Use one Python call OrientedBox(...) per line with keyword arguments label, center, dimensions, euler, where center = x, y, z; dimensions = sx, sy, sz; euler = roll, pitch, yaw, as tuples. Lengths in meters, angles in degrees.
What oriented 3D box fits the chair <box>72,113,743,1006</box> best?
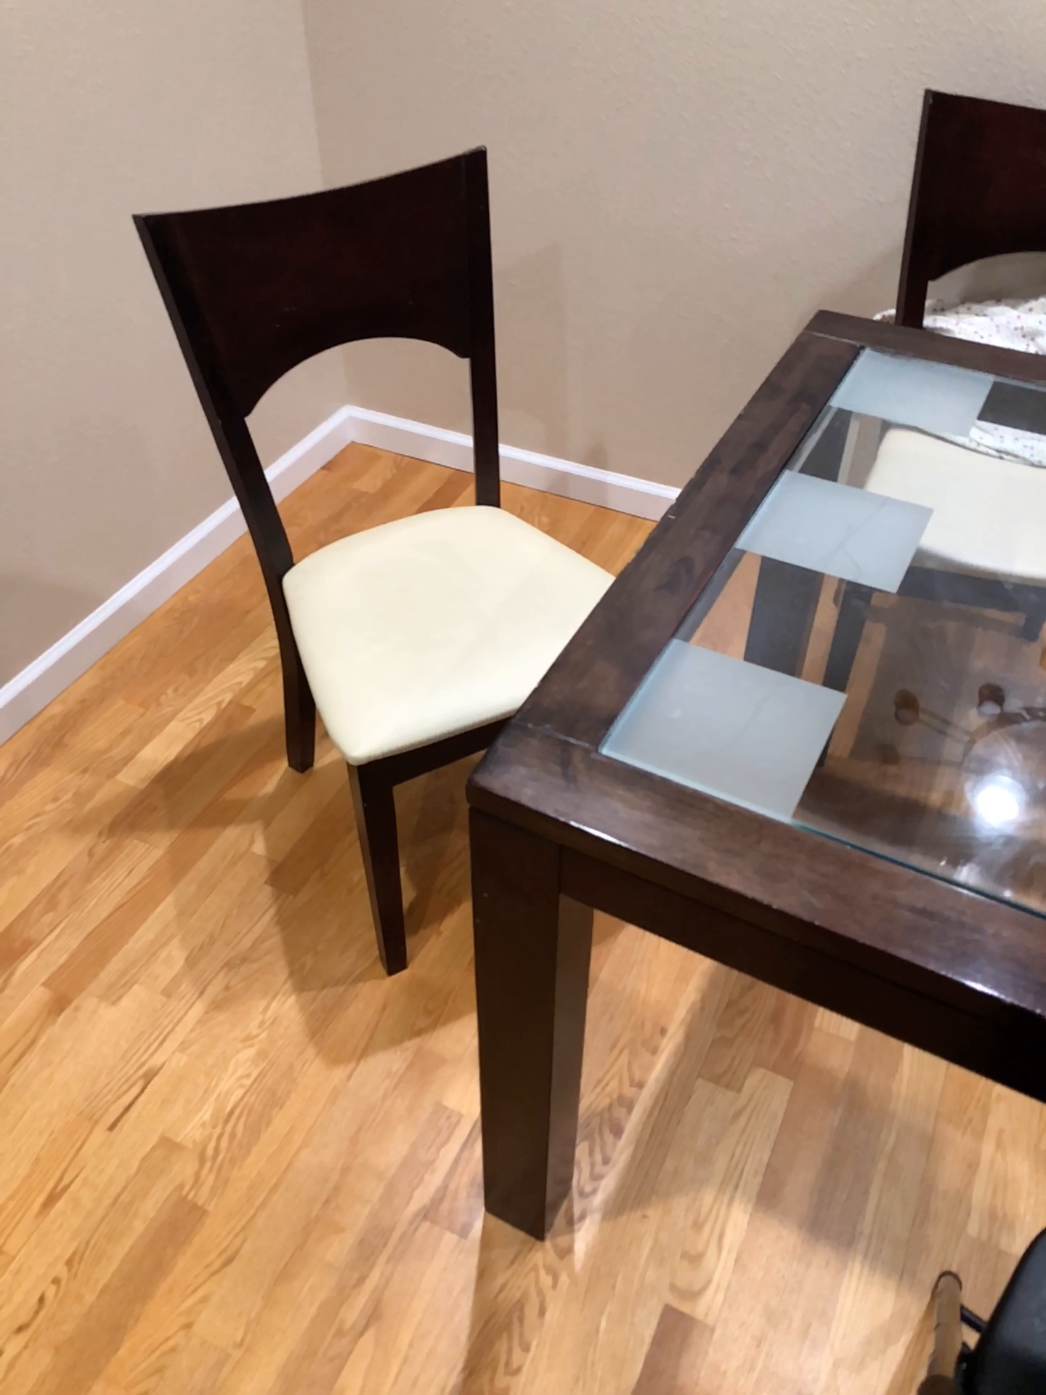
OrientedBox(label="chair", center=(-0.145, -0.162, 1.480), dimensions=(0.521, 0.905, 0.532), euler=(-20, 46, -20))
